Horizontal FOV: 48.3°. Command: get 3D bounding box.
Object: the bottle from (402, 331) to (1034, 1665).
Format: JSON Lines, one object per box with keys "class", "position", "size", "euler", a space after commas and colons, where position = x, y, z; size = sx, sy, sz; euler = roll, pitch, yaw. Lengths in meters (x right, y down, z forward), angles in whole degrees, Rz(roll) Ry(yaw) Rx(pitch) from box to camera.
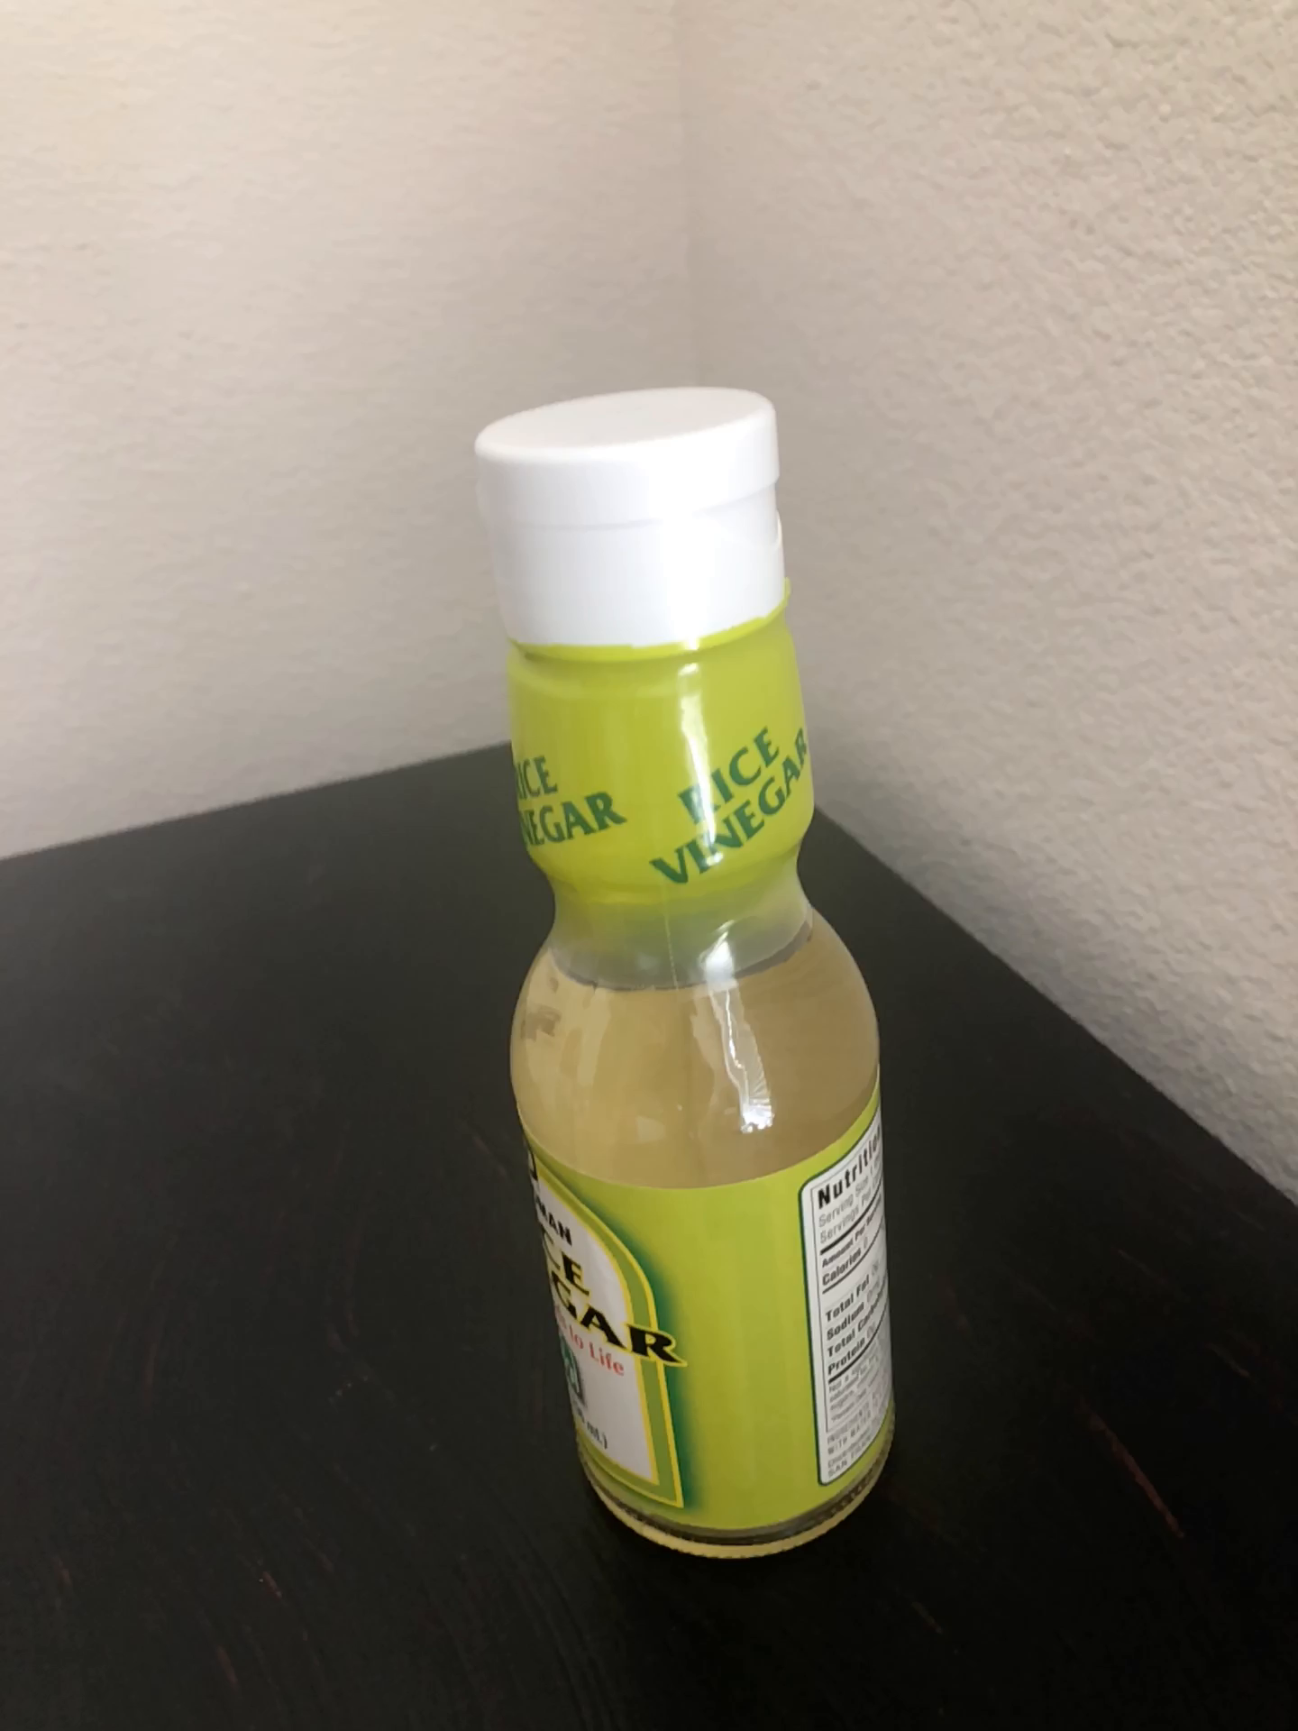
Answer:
{"class": "bottle", "position": [0.011, 0.026, 0.235], "size": [0.070, 0.199, 0.070], "euler": [-4, 27, 2]}
